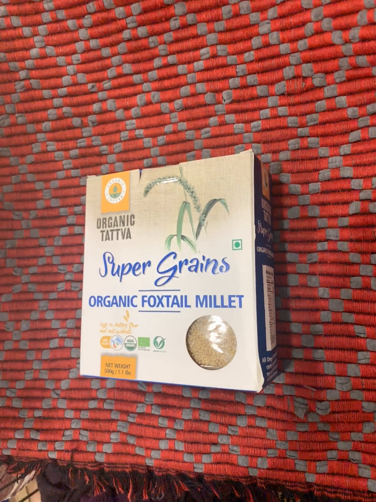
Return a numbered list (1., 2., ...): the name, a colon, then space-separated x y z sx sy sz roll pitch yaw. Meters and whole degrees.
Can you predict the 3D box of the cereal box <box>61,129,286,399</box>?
1. cereal box: -0.011 0.011 0.272 0.140 0.060 0.150 -3 82 25
